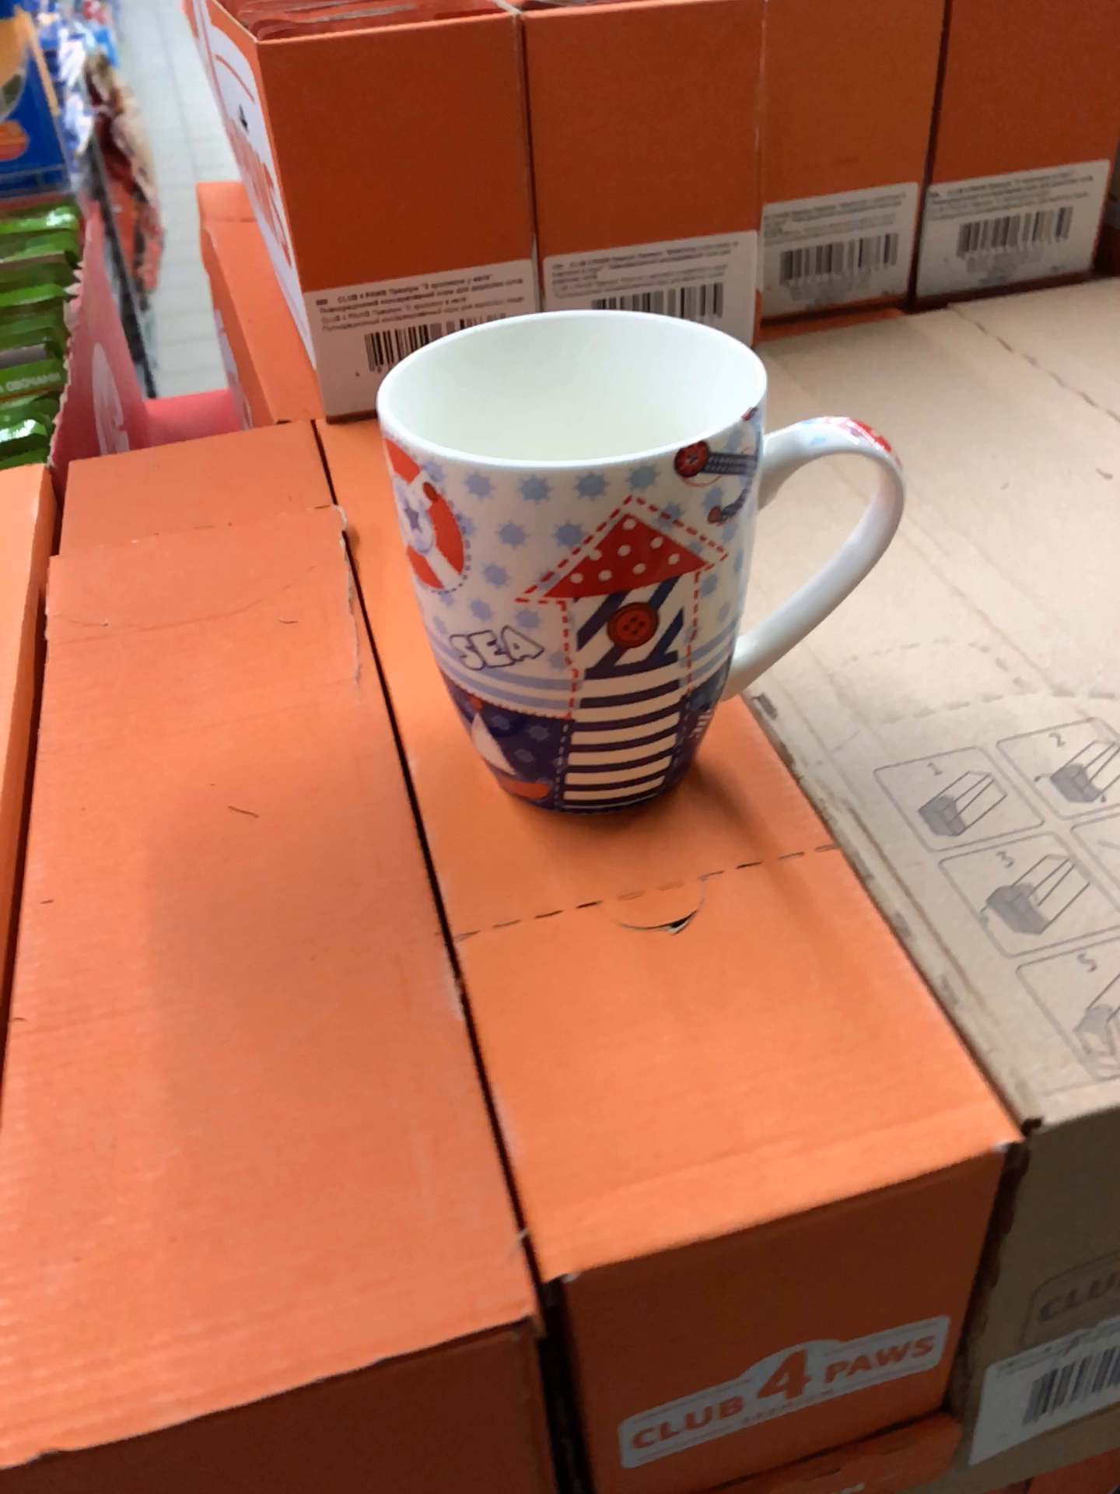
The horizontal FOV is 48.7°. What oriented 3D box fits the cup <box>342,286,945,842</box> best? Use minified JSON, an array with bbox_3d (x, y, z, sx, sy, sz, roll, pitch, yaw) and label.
[{"bbox_3d":[0.015,-0.045,0.292,0.112,0.092,0.086,-4,38,-2],"label":"cup"}]
